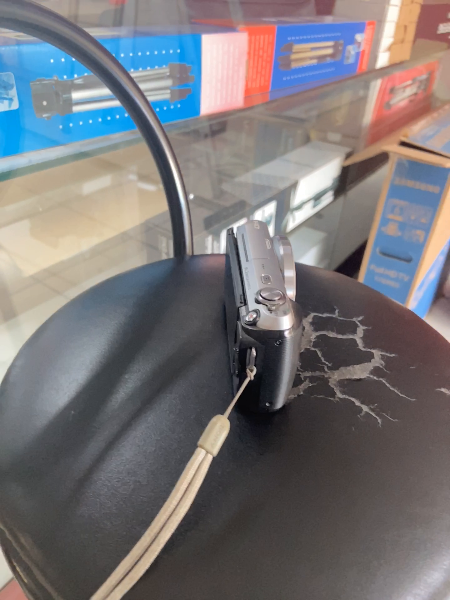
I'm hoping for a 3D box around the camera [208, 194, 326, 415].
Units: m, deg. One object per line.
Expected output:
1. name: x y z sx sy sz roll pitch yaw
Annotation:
1. camera: 0.015 -0.005 0.252 0.040 0.060 0.121 0 34 -5
